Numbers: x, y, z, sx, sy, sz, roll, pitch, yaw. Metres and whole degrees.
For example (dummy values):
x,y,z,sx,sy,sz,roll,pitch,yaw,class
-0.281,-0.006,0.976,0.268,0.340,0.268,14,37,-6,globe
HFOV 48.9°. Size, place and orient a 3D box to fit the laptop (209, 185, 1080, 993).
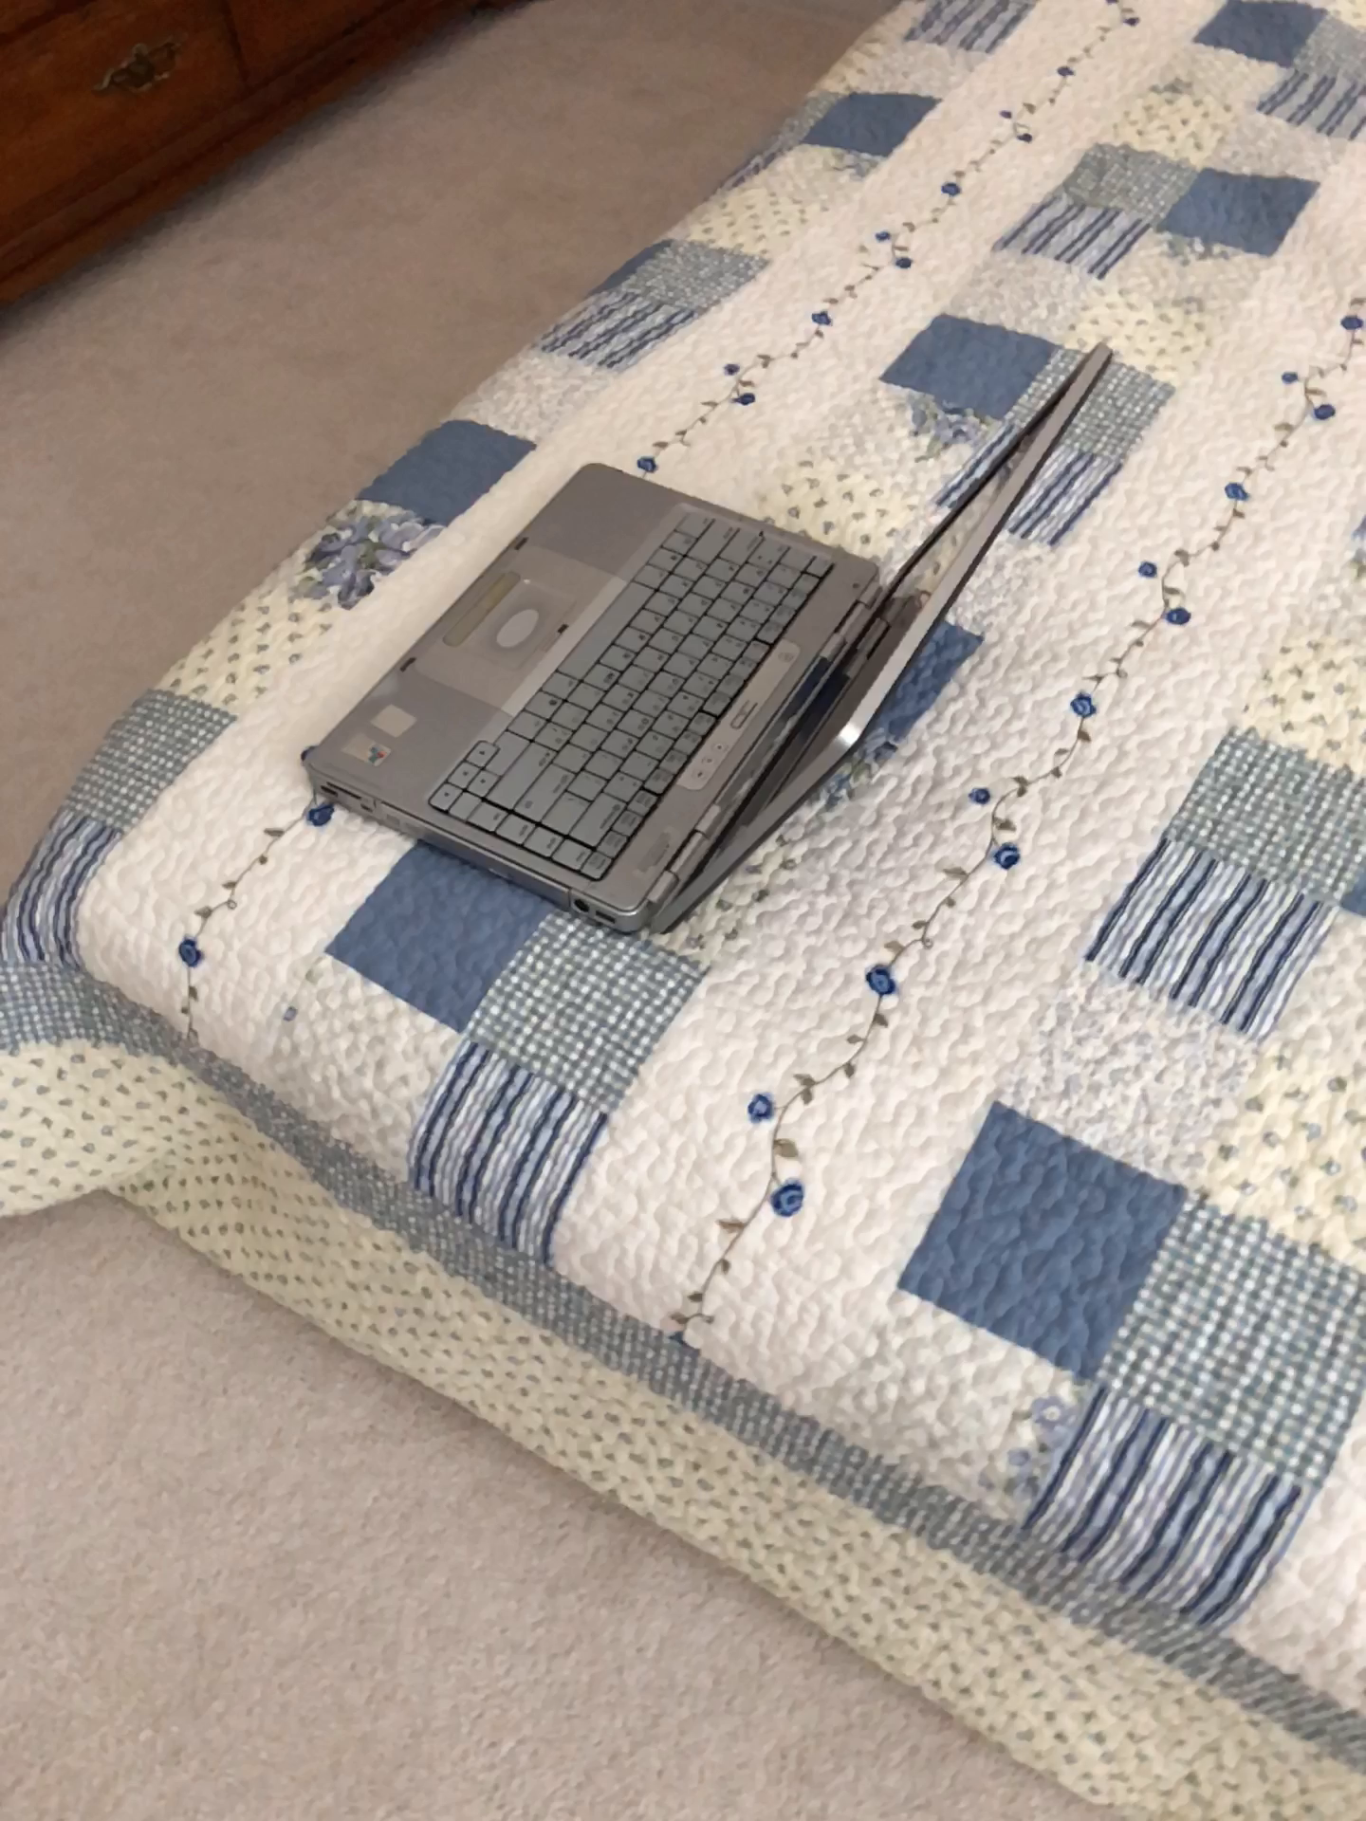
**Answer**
x,y,z,sx,sy,sz,roll,pitch,yaw,class
-0.006,-0.195,0.843,0.326,0.193,0.323,24,57,17,laptop
